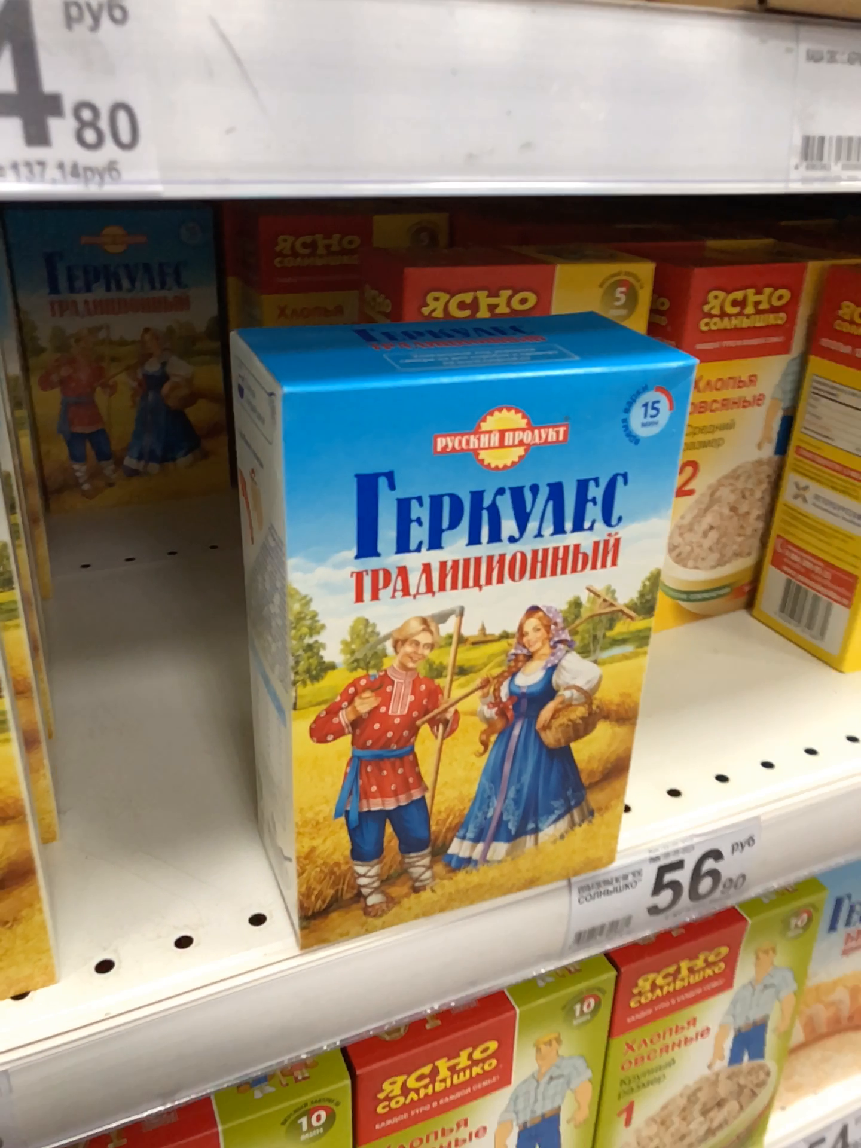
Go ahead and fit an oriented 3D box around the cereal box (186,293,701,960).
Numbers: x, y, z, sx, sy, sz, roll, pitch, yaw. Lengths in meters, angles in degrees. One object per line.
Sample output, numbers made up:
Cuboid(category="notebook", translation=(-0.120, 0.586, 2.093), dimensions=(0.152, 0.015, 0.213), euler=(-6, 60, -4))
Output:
Cuboid(category="cereal box", translation=(-0.001, 0.014, 0.312), dimensions=(0.130, 0.189, 0.070), euler=(-8, 28, -21))
